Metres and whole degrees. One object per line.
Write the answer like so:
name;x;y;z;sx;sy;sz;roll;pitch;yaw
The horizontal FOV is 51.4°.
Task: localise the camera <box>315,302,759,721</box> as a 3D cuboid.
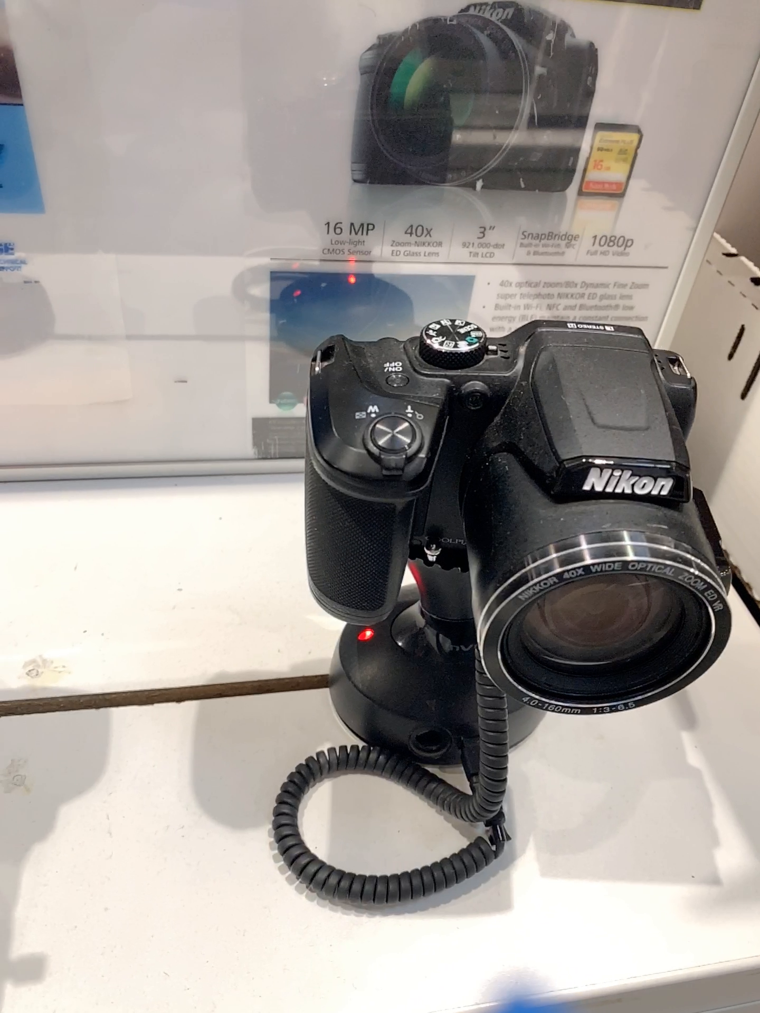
camera;0.040;0.004;0.209;0.110;0.089;0.061;1;41;-7
